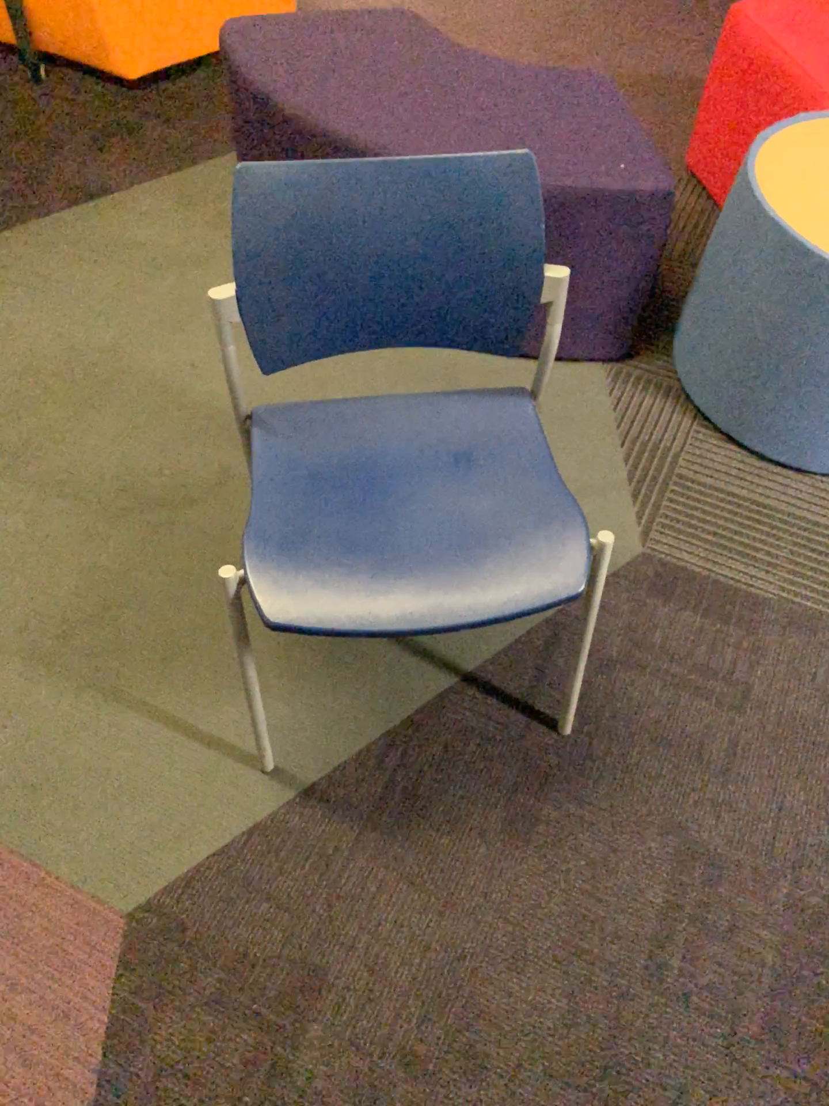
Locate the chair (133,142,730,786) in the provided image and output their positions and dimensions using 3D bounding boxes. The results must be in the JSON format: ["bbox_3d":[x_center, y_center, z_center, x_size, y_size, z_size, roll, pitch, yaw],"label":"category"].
[{"bbox_3d":[-0.017,-0.098,1.236,0.560,0.694,0.575,-5,53,-5],"label":"chair"}]
